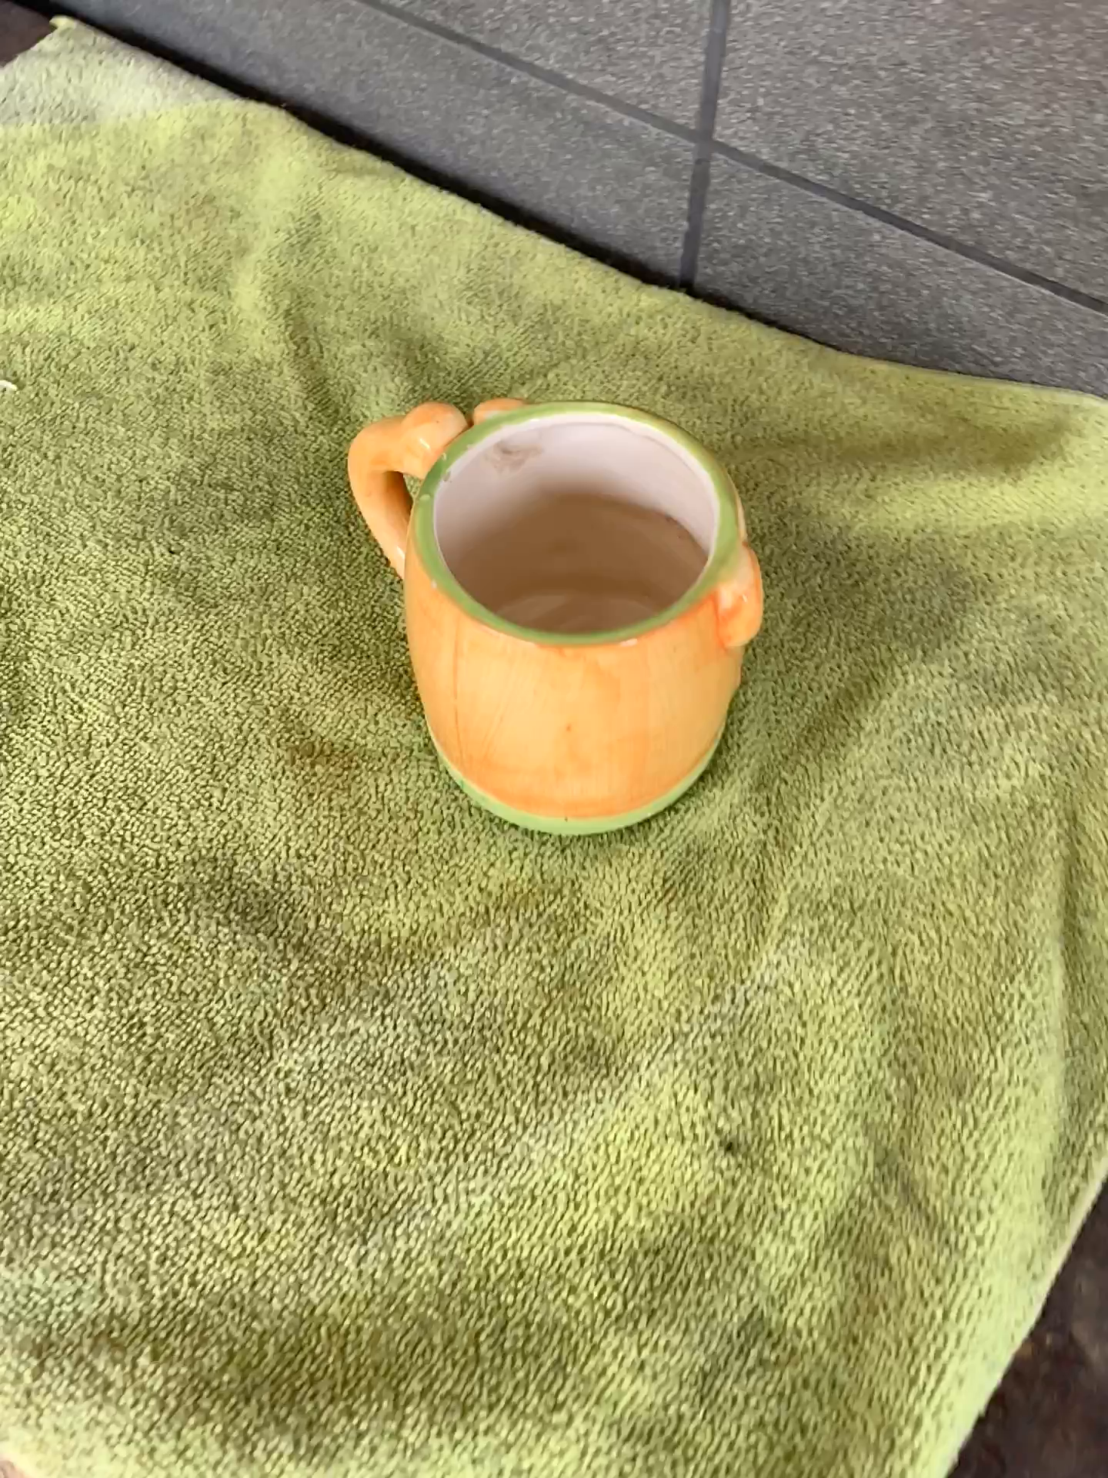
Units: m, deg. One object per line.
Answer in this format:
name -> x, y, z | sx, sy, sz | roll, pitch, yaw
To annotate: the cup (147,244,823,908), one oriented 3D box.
cup -> -0.017, -0.041, 0.299 | 0.130, 0.100, 0.080 | 31, 62, 17
